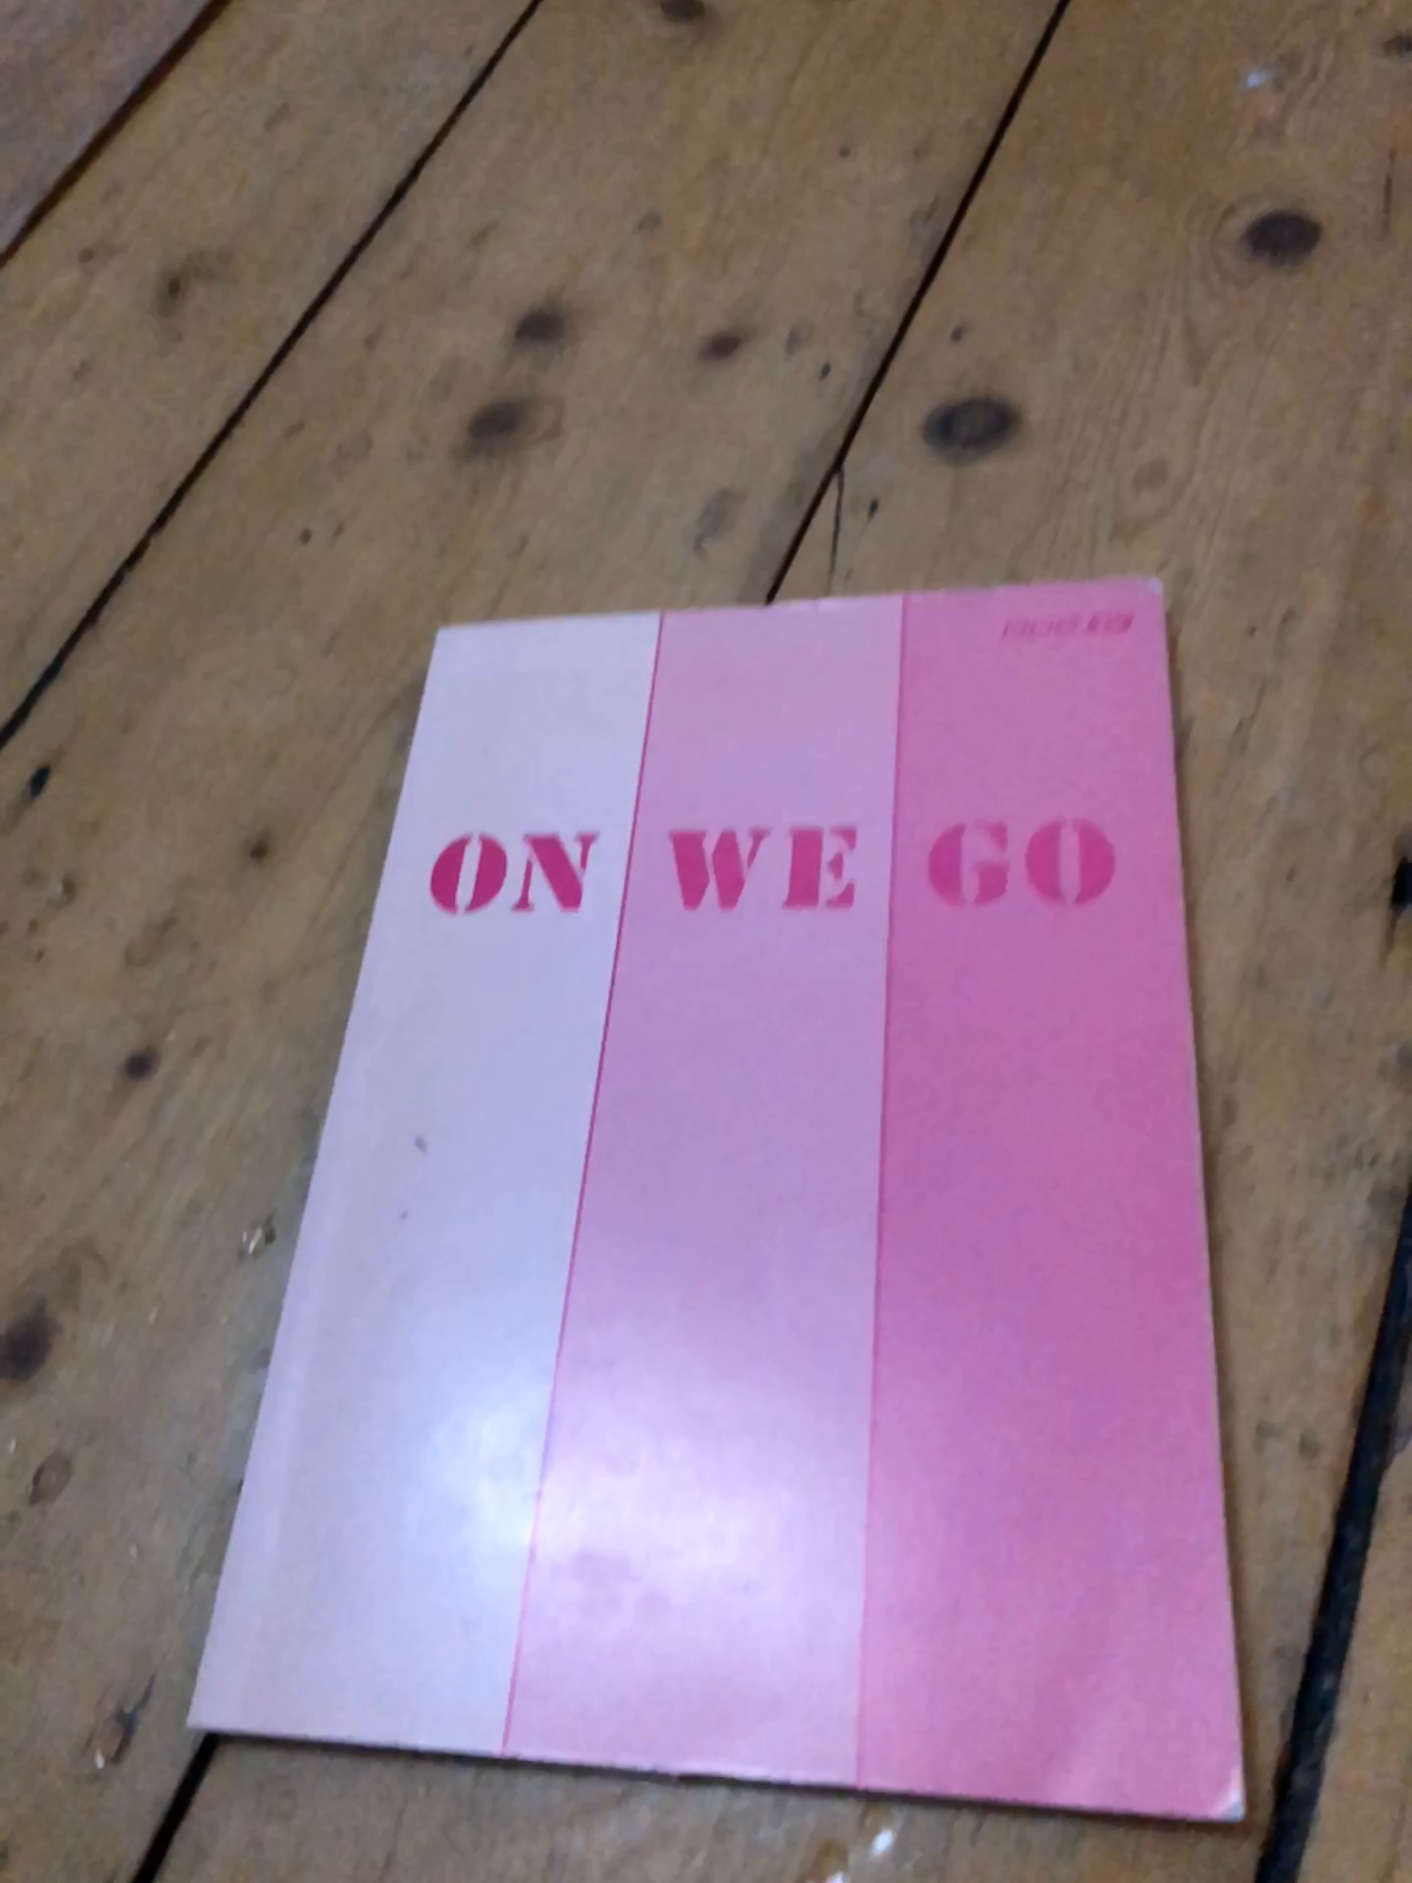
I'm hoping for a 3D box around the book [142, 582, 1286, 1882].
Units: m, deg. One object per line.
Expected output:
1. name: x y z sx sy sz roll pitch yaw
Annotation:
1. book: 0.006 0.032 0.276 0.160 0.020 0.221 -1 60 12
